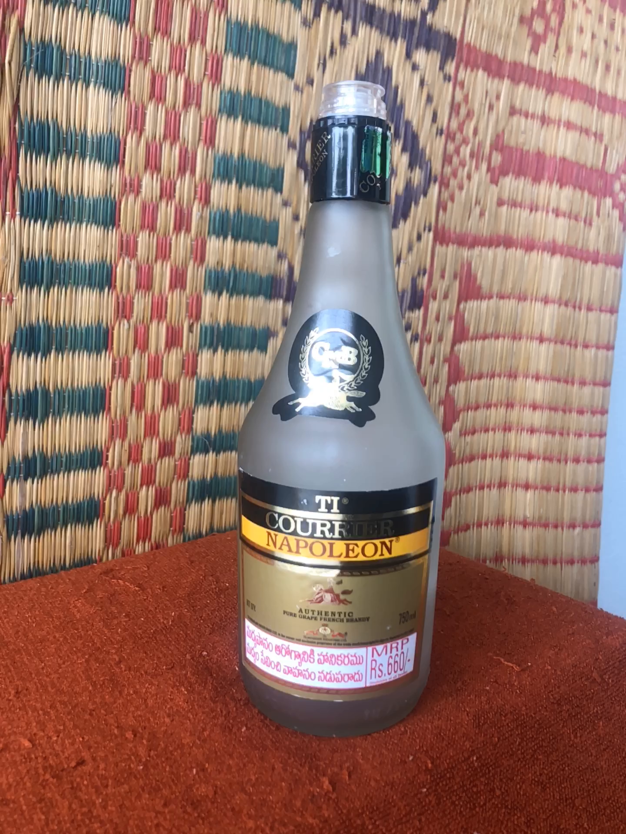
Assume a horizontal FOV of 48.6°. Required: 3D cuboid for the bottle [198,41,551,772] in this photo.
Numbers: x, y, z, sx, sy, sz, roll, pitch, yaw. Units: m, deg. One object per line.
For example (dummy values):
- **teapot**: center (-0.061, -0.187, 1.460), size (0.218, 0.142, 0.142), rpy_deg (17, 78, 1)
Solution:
- **bottle**: center (0.022, -0.004, 0.286), size (0.100, 0.249, 0.090), rpy_deg (7, 11, 9)
